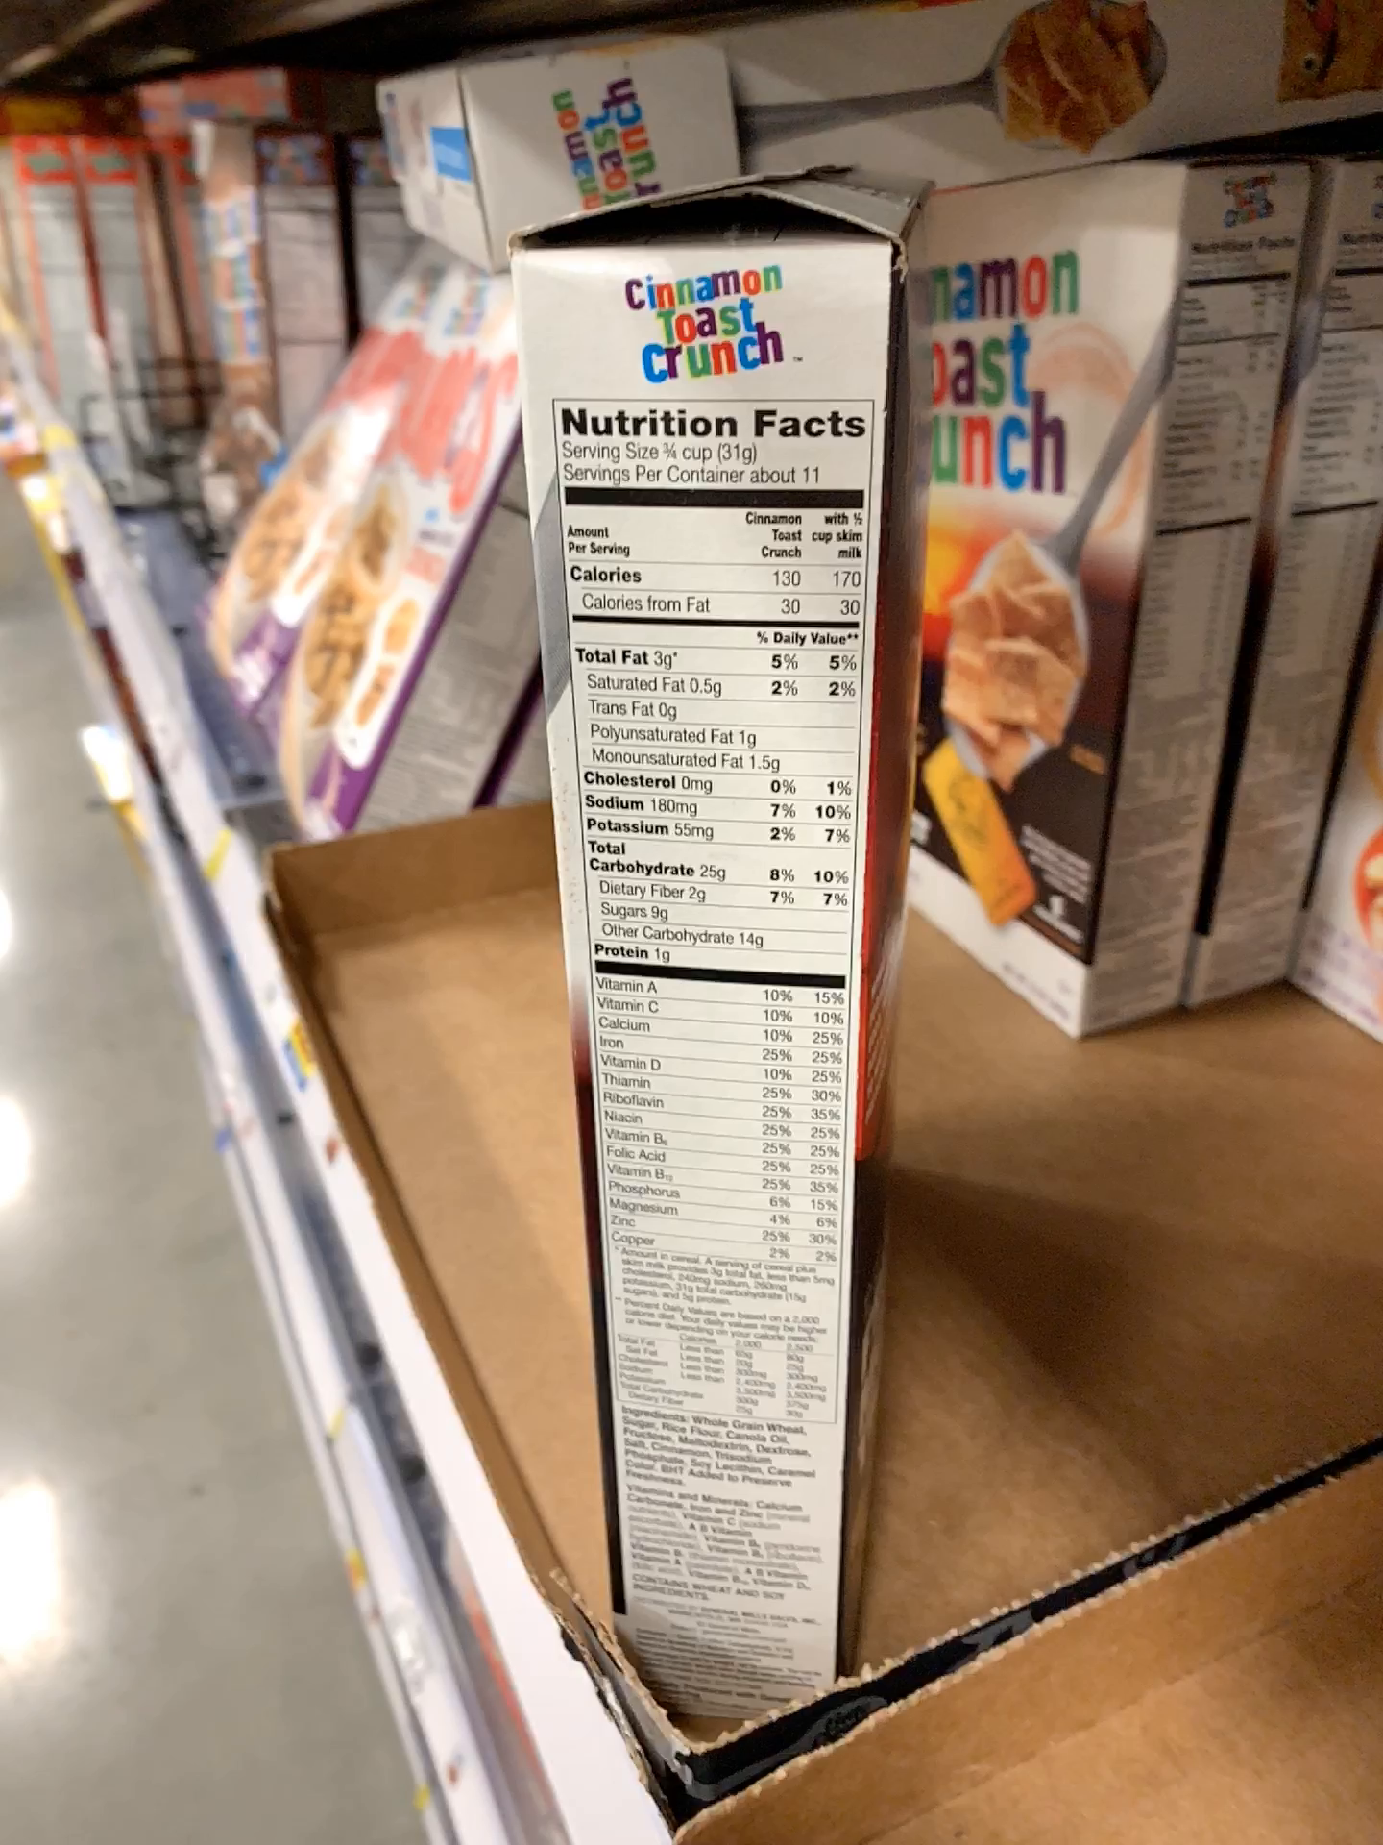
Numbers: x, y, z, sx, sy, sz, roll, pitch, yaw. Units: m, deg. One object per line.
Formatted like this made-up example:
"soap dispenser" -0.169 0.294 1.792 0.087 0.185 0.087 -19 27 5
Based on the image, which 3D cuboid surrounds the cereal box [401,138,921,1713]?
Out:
"cereal box" 0.014 -0.010 0.313 0.060 0.279 0.191 2 29 8
